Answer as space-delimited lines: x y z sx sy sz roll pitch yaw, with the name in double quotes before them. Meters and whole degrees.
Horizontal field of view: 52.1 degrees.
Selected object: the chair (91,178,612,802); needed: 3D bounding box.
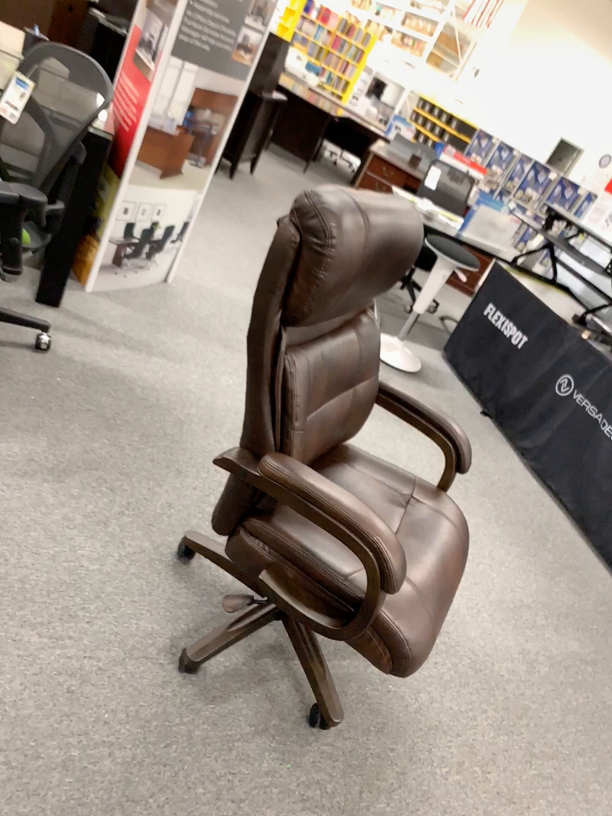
"chair" 0.152 0.140 1.528 0.700 1.094 0.754 35 28 11
